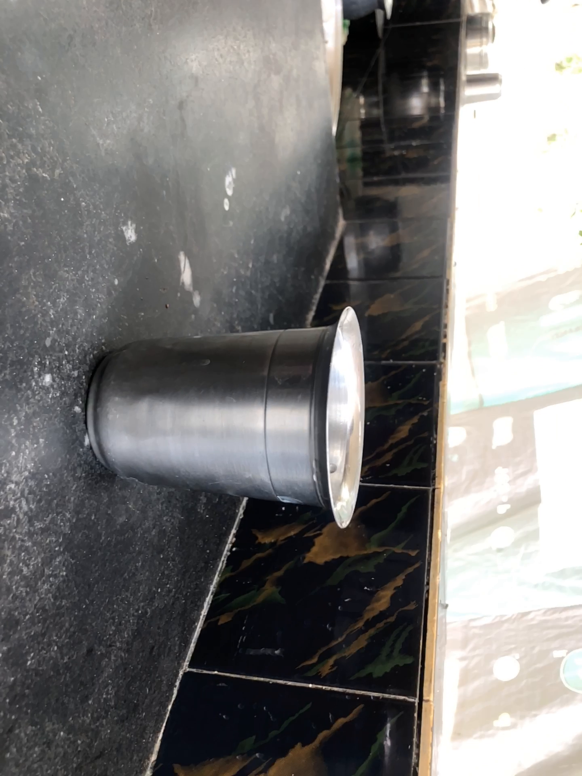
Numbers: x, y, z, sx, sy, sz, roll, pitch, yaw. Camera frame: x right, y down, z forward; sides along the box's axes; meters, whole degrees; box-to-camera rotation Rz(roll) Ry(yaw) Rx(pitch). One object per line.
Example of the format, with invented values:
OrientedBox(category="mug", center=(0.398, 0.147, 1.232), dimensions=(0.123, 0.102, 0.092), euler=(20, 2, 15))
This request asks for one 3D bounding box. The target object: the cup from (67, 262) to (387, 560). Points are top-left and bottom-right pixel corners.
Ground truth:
OrientedBox(category="cup", center=(-0.015, 0.011, 0.279), dimensions=(0.090, 0.100, 0.090), euler=(2, 90, -76))
